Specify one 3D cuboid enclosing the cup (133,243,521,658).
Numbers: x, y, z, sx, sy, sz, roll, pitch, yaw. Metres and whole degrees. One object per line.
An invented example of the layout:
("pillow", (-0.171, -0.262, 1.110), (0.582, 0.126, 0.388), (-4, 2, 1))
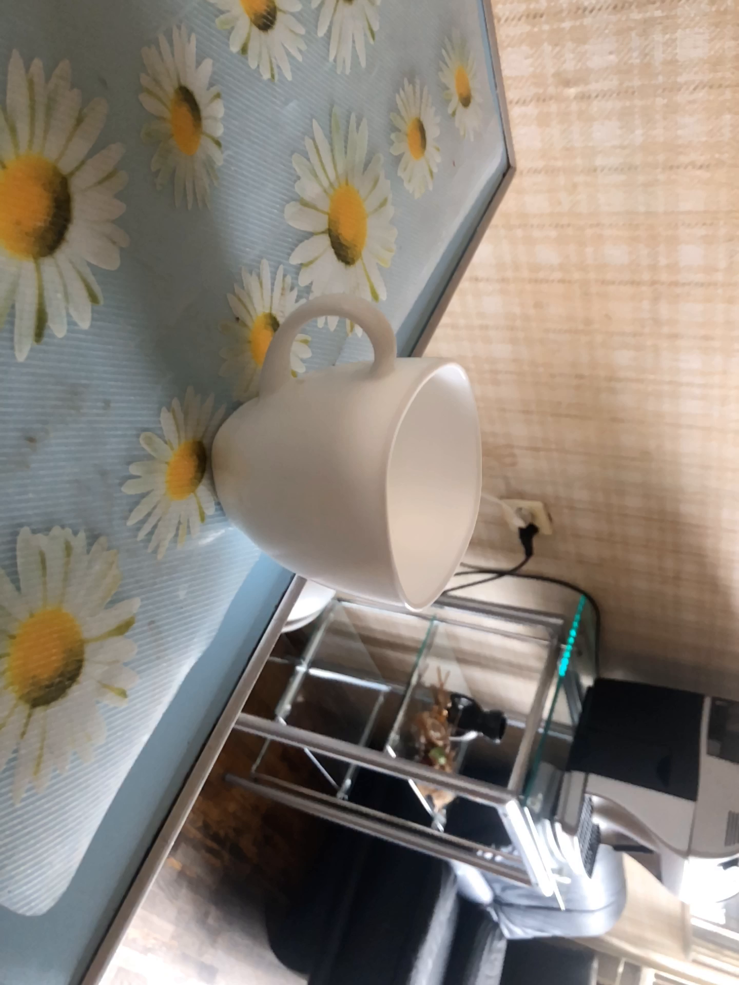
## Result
("cup", (-0.004, -0.013, 0.269), (0.085, 0.070, 0.102), (-66, 149, -28))
